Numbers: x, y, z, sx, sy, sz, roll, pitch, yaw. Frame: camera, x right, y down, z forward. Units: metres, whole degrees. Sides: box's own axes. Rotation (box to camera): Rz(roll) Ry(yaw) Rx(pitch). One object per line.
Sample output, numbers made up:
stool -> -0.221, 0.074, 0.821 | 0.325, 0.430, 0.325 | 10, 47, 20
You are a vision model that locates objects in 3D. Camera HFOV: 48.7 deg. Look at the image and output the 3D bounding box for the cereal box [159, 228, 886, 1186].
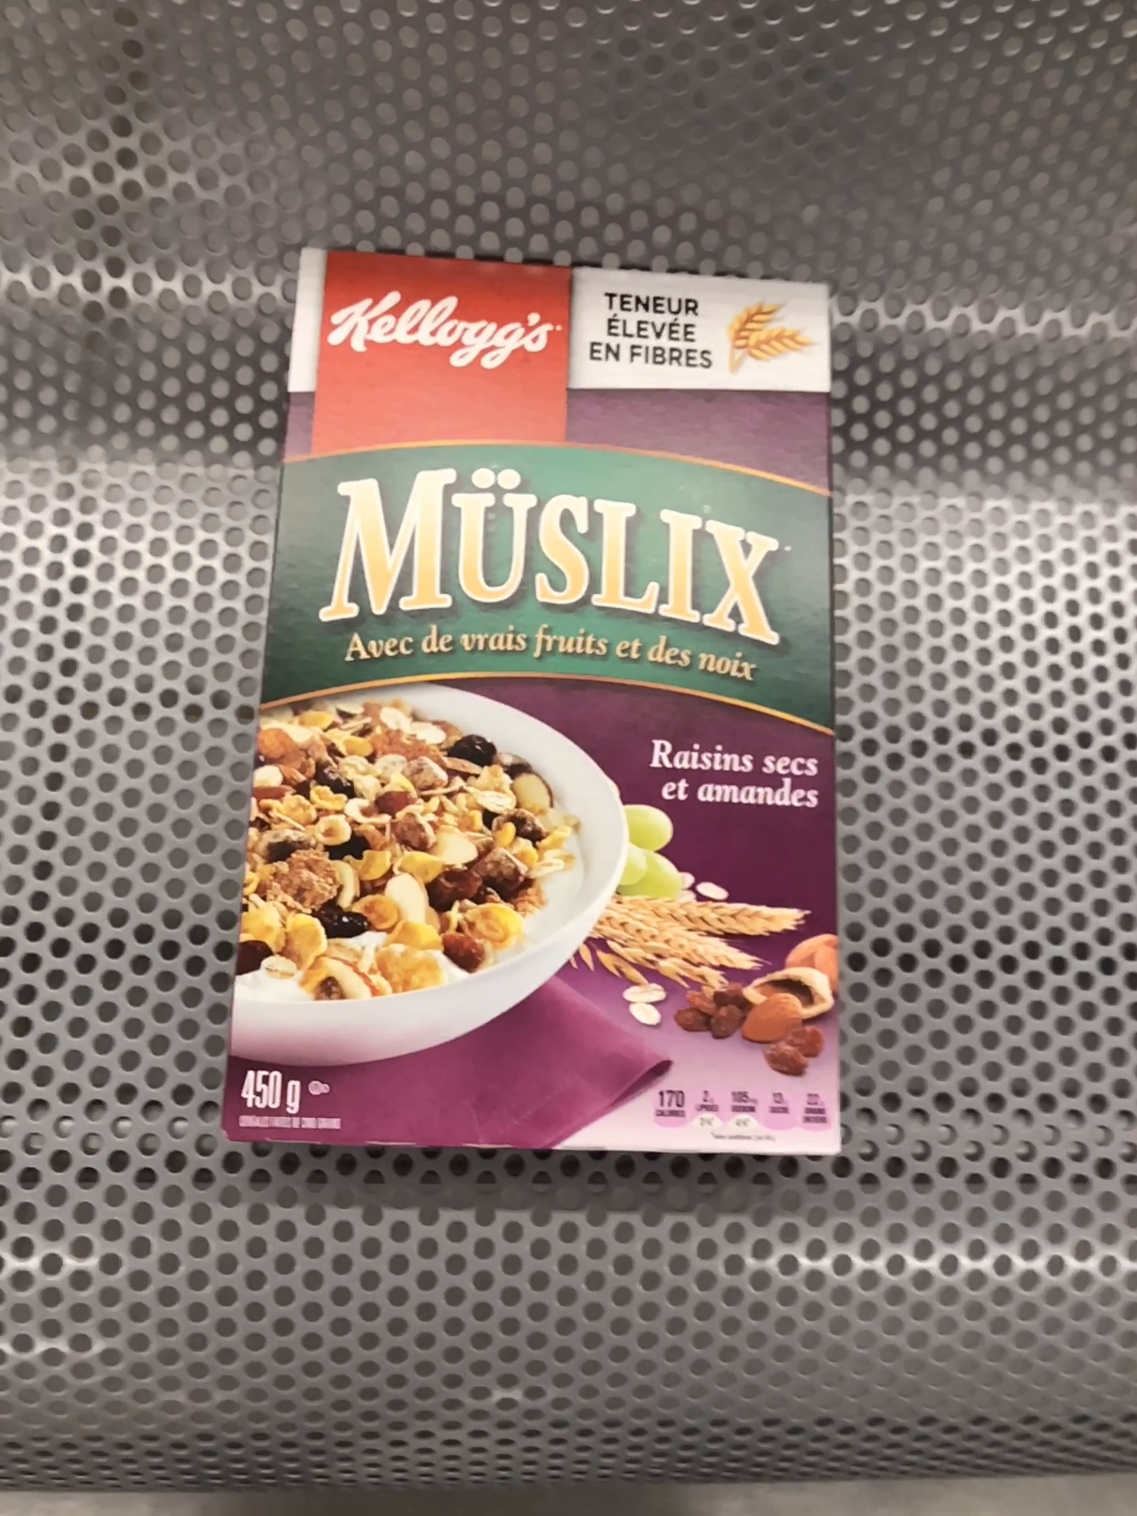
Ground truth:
cereal box -> -0.007, -0.018, 0.365 | 0.180, 0.050, 0.260 | 3, 77, -3
